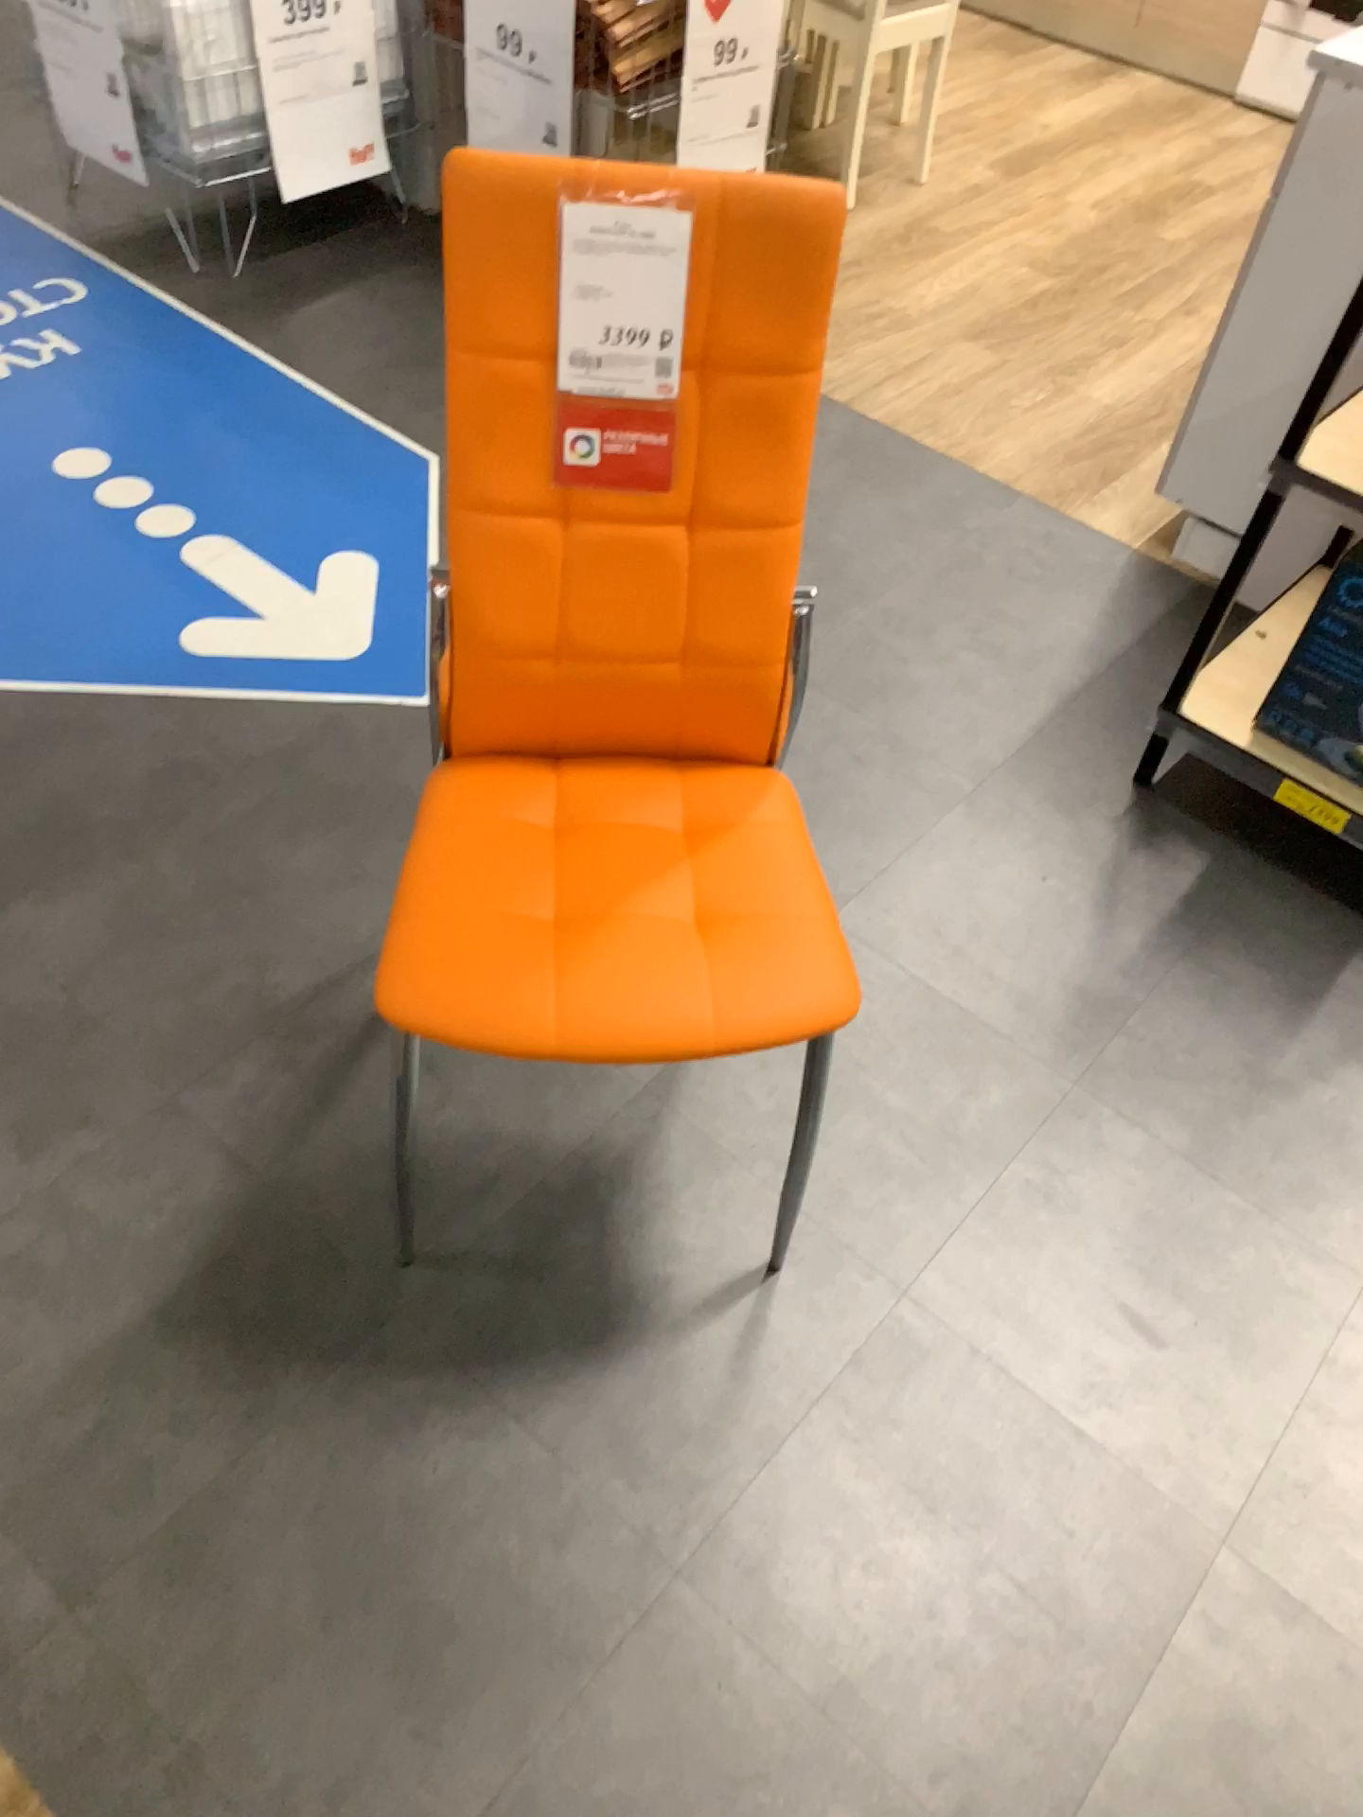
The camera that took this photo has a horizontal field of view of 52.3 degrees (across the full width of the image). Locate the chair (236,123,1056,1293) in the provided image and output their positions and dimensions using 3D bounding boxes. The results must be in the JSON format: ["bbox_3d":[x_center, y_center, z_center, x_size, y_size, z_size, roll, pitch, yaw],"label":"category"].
[{"bbox_3d":[-0.069,-0.111,1.384,0.490,1.015,0.543,3,47,-5],"label":"chair"}]
